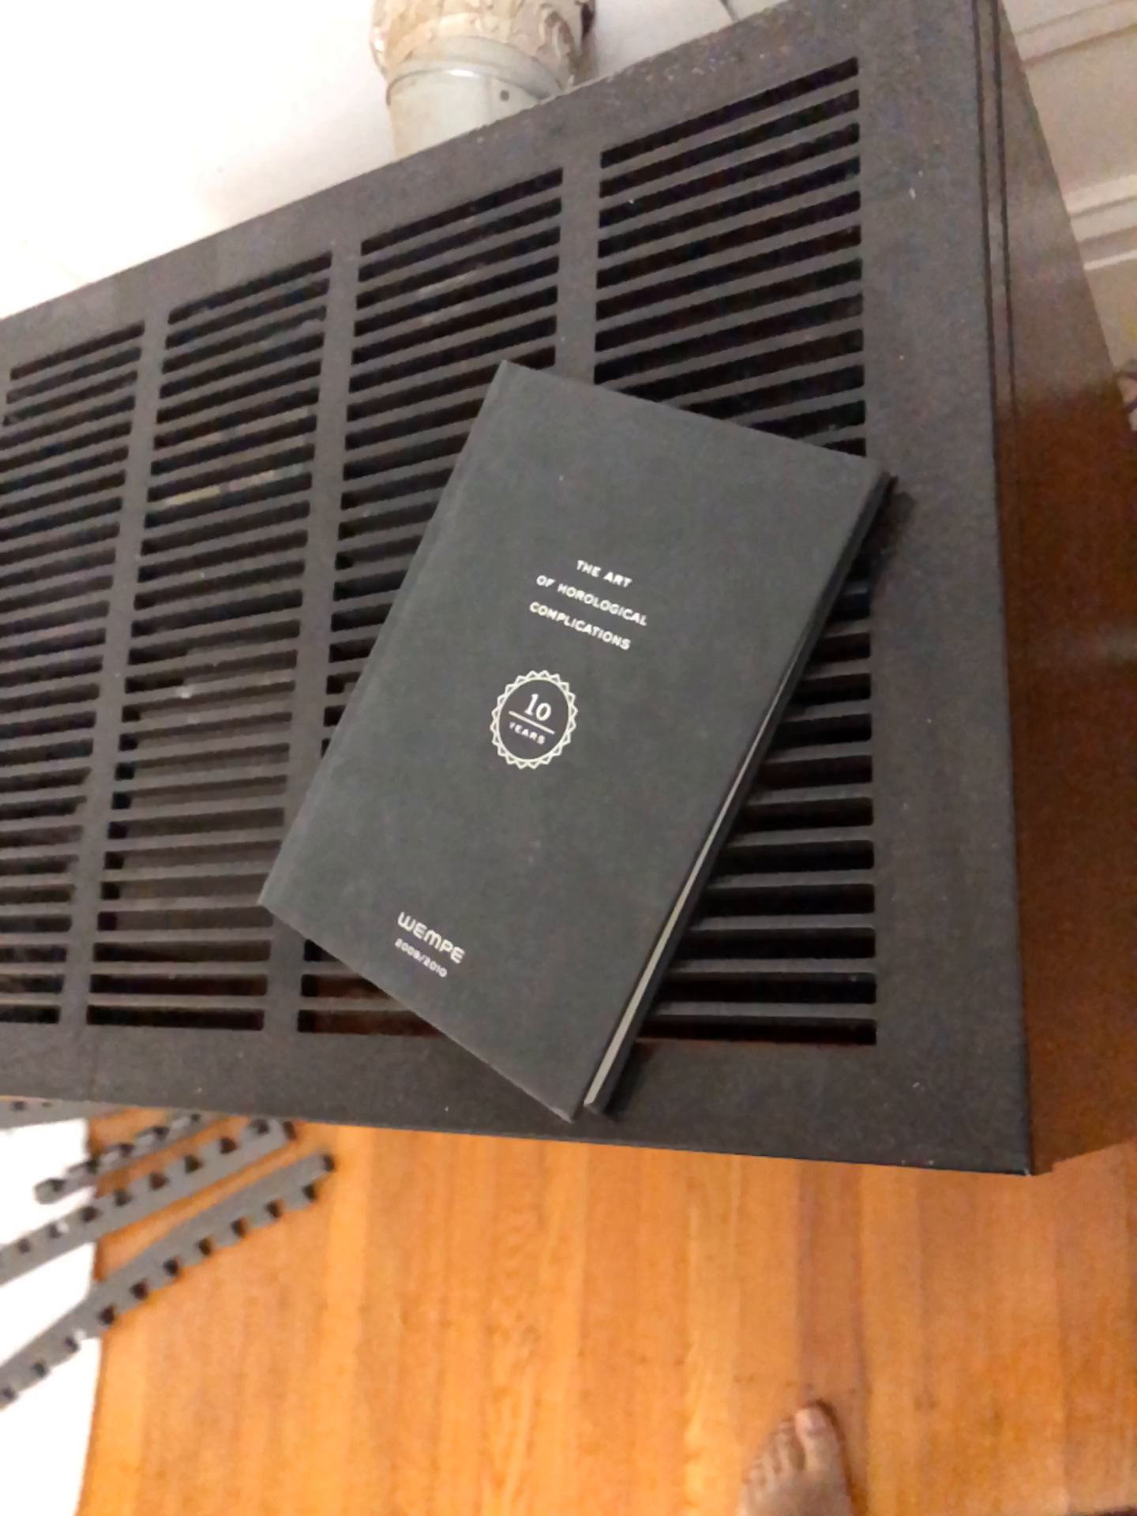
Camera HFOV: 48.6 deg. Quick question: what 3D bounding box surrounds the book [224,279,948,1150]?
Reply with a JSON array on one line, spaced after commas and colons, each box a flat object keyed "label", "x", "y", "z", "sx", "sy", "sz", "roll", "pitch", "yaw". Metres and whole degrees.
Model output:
[{"label": "book", "x": -0.005, "y": -0.027, "z": 0.415, "sx": 0.161, "sy": 0.020, "sz": 0.250, "roll": 26, "pitch": 91, "yaw": 34}]
